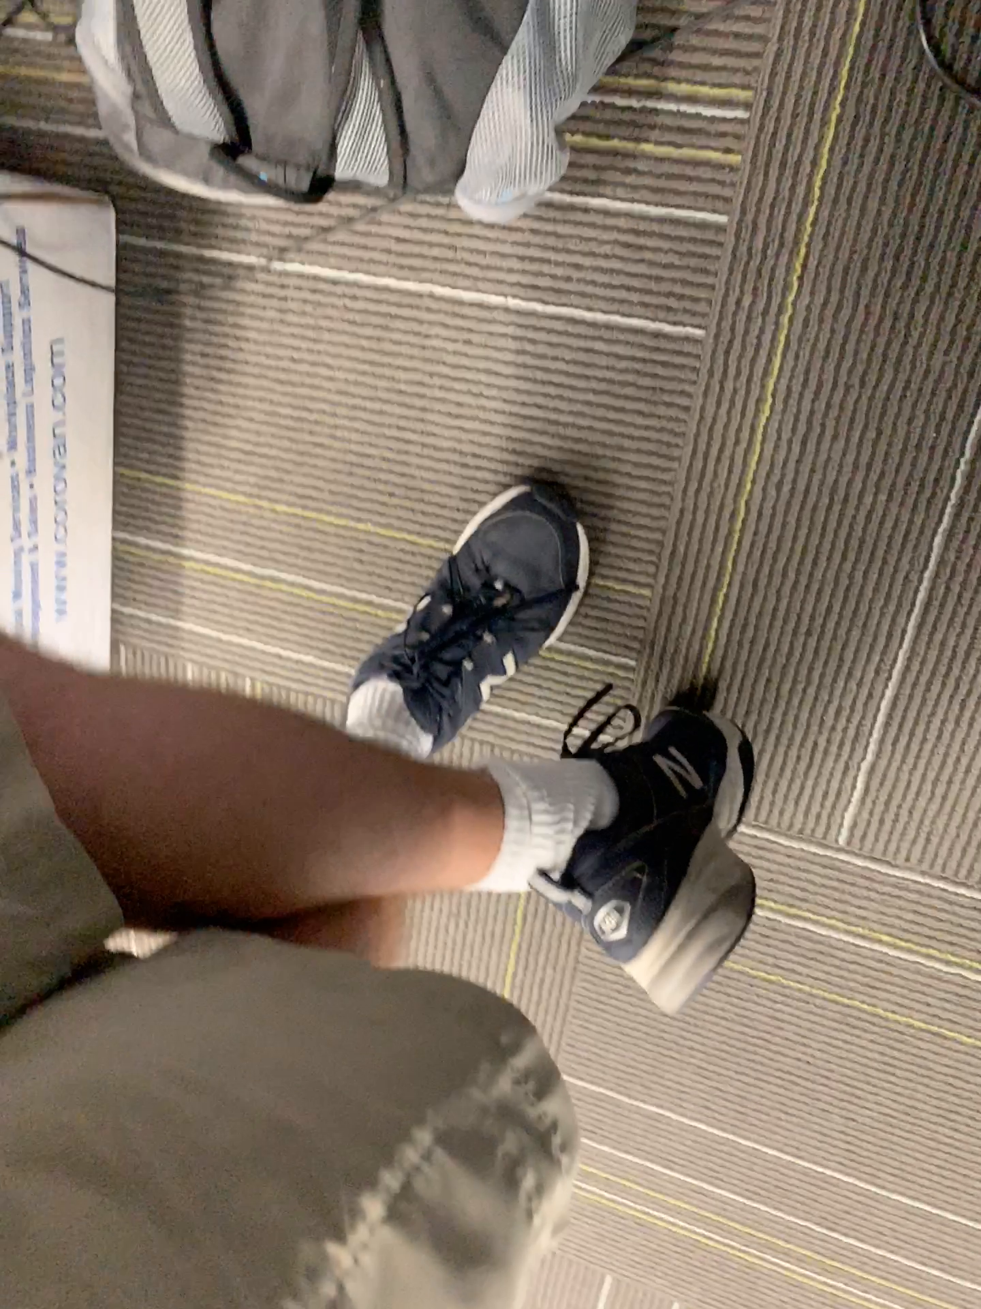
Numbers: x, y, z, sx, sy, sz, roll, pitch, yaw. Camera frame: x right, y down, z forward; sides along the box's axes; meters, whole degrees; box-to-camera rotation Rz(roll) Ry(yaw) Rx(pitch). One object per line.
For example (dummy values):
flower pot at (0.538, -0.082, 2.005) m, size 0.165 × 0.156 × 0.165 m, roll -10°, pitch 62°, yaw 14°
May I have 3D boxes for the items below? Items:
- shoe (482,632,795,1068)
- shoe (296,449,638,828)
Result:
shoe at (0.121, 0.119, 0.722) m, size 0.129 × 0.292 × 0.123 m, roll 34°, pitch 120°, yaw 2°
shoe at (-0.026, -0.006, 0.817) m, size 0.120 × 0.077 × 0.298 m, roll 40°, pitch 119°, yaw 2°
